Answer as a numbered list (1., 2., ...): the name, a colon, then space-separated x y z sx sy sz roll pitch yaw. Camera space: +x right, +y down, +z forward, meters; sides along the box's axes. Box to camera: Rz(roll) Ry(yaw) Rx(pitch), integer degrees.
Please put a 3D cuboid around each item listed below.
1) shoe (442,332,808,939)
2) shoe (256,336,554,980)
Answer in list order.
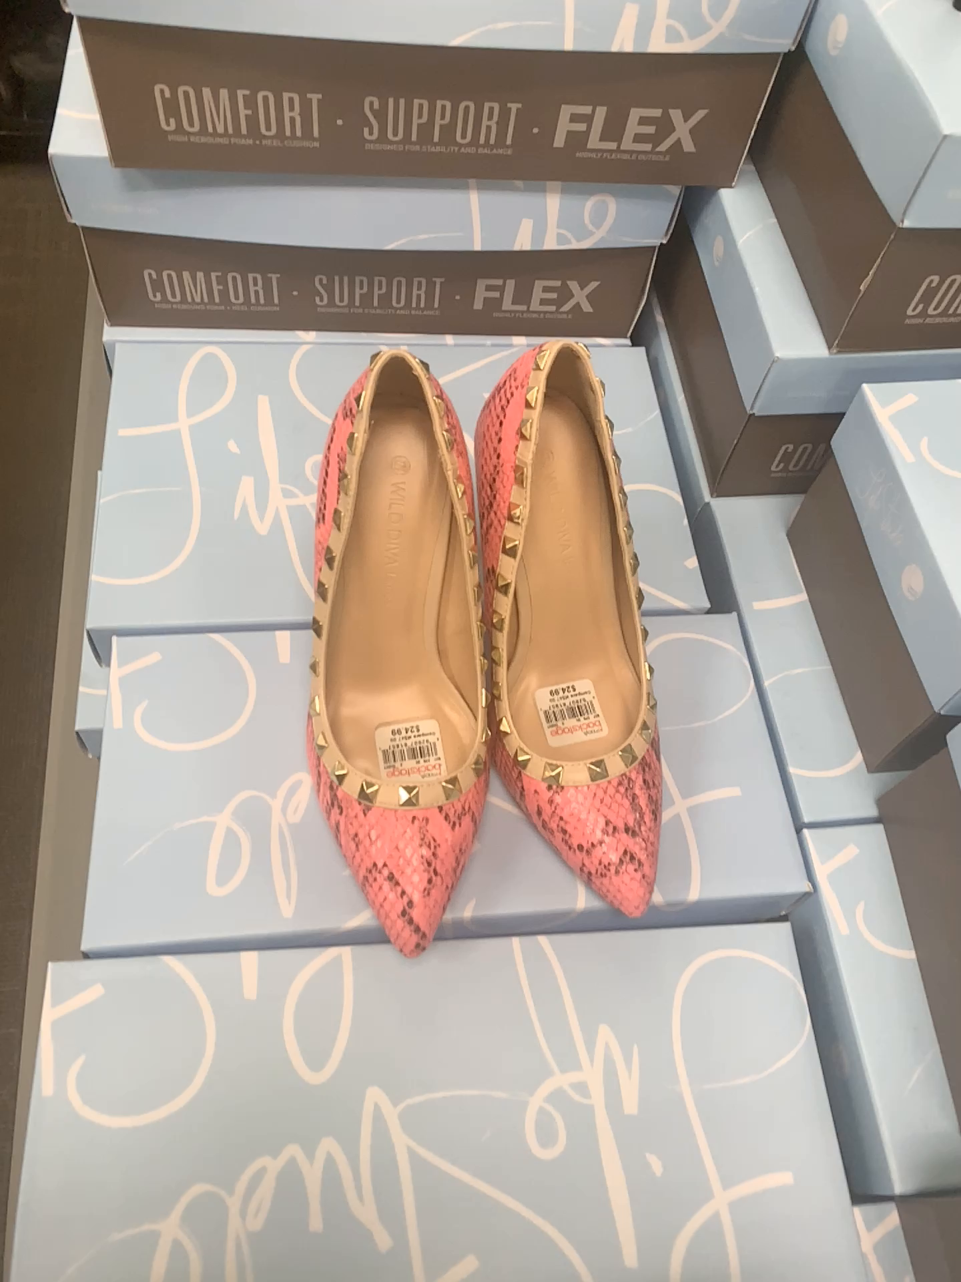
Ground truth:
1. shoe: 0.038 -0.001 0.383 0.082 0.129 0.196 -2 60 -8
2. shoe: -0.036 0.007 0.366 0.080 0.129 0.200 -2 60 -8
